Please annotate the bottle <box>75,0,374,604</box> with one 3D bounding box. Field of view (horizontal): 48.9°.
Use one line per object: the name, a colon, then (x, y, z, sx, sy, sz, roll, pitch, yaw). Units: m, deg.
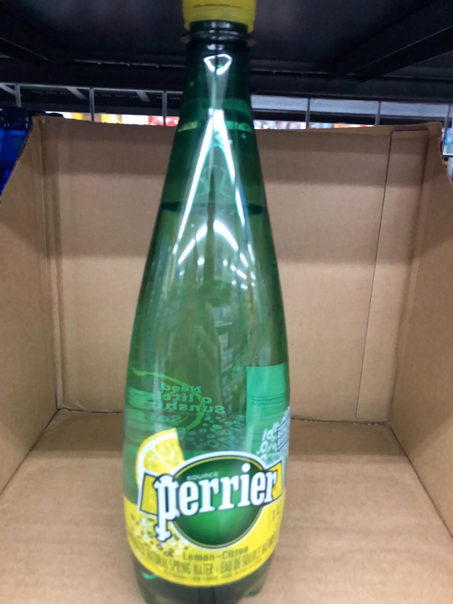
bottle: (-0.010, 0.006, 0.251, 0.100, 0.318, 0.080, 0, 17, -7)
